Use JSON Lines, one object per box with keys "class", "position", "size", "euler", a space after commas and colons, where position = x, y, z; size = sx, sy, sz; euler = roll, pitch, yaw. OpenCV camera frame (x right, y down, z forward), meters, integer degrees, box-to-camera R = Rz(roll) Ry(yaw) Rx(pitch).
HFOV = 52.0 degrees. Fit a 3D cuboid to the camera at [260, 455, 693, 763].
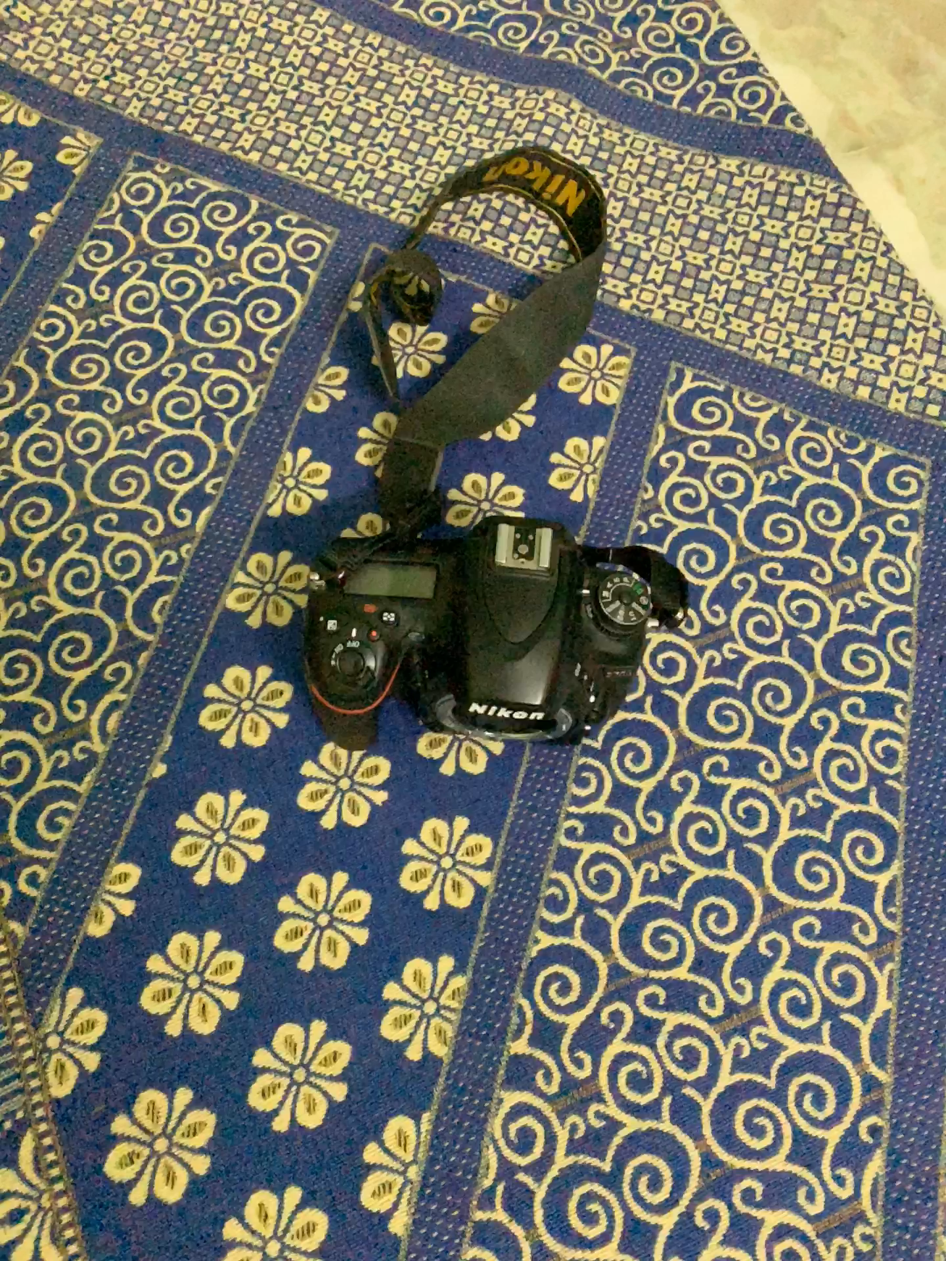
{"class": "camera", "position": [0.003, -0.005, 0.394], "size": [0.150, 0.090, 0.088], "euler": [3, 67, 0]}
